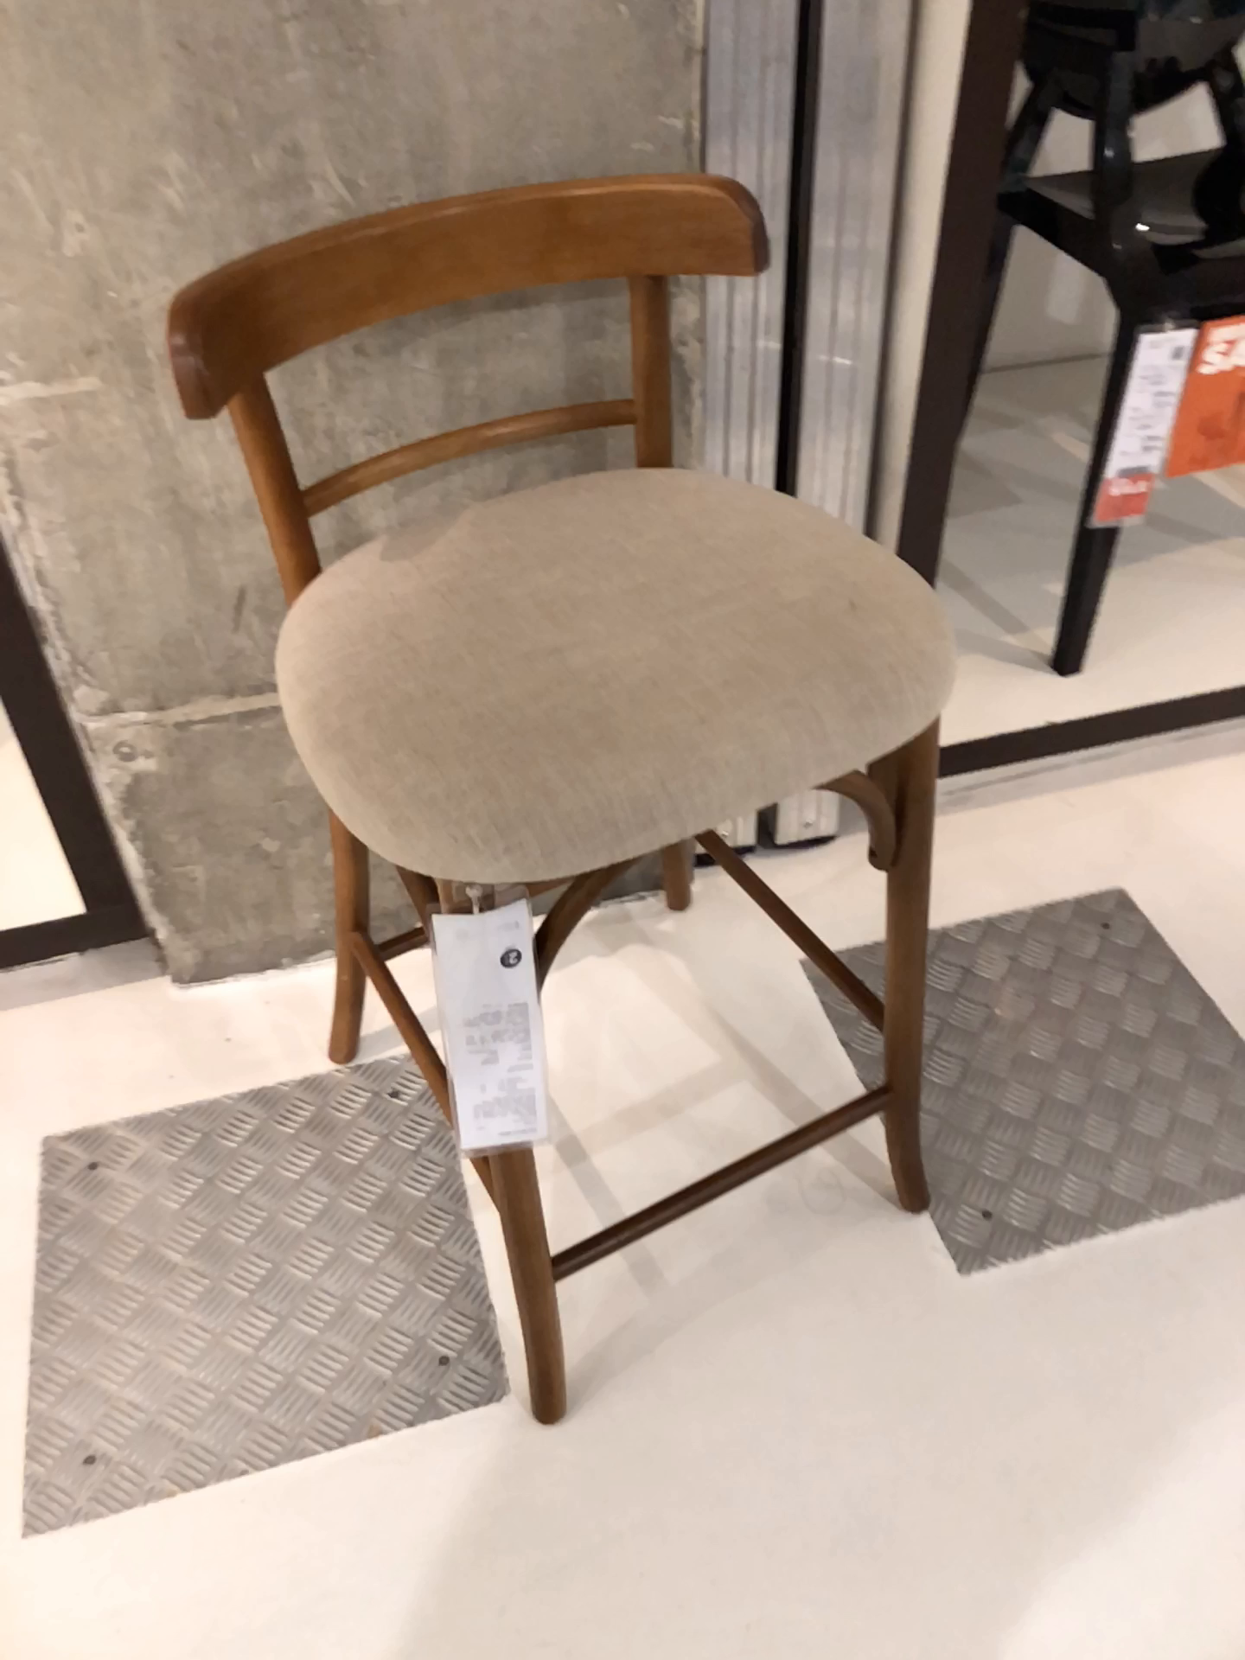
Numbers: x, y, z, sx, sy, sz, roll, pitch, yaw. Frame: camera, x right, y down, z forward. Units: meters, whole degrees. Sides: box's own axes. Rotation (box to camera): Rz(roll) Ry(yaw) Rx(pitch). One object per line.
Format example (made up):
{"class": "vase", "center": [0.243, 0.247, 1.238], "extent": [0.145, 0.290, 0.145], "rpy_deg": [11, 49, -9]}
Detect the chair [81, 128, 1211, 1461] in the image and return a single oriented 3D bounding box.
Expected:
{"class": "chair", "center": [-0.005, -0.019, 1.062], "extent": [0.481, 0.794, 0.483], "rpy_deg": [-23, 46, -22]}
